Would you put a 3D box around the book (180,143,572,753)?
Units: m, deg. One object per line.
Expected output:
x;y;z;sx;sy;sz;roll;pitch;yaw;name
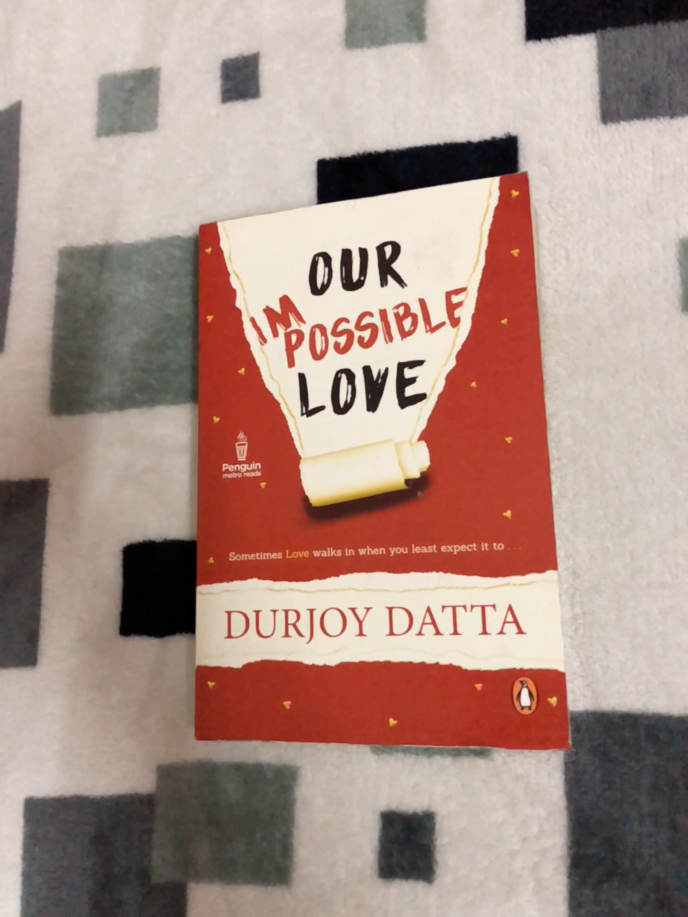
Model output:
0.007;-0.003;0.277;0.130;0.030;0.200;-4;82;13;book
